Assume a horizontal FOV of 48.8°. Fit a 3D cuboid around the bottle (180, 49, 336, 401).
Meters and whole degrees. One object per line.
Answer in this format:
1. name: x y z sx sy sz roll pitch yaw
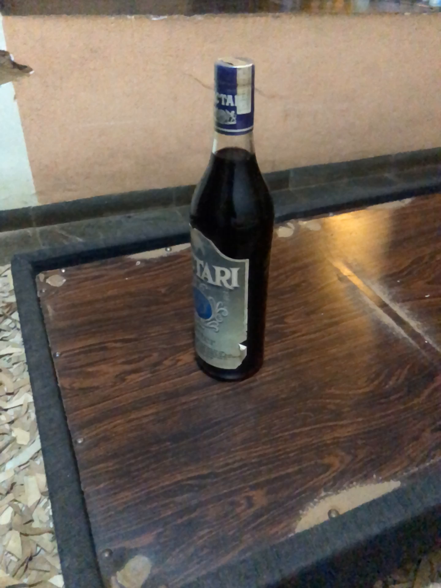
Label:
1. bottle: 0.020 -0.048 0.454 0.080 0.308 0.090 -17 42 -24
